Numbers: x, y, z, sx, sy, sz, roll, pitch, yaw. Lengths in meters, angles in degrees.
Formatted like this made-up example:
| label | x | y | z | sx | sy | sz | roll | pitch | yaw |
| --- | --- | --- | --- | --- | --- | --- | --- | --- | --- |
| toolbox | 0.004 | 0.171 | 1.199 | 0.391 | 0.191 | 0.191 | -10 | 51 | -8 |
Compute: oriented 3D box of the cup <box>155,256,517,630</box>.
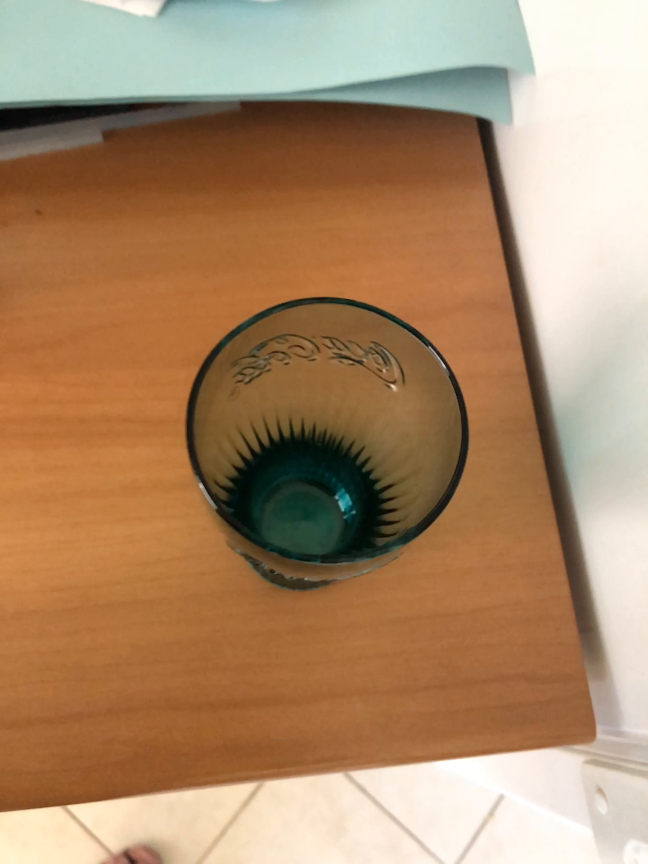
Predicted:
| label | x | y | z | sx | sy | sz | roll | pitch | yaw |
| --- | --- | --- | --- | --- | --- | --- | --- | --- | --- |
| cup | -0.005 | 0.016 | 0.255 | 0.080 | 0.140 | 0.080 | 2 | 71 | -5 |
